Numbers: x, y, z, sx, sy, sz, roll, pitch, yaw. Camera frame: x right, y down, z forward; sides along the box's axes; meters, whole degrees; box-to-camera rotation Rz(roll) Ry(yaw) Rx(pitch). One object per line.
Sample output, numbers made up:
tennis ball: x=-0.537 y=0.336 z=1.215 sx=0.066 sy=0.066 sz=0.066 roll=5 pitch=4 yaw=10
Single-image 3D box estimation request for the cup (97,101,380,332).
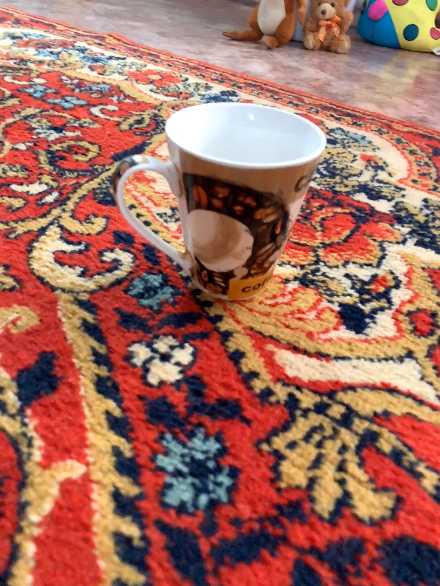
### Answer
cup: x=0.001 y=-0.045 z=0.231 sx=0.110 sy=0.079 sz=0.081 roll=-8 pitch=41 yaw=-18
